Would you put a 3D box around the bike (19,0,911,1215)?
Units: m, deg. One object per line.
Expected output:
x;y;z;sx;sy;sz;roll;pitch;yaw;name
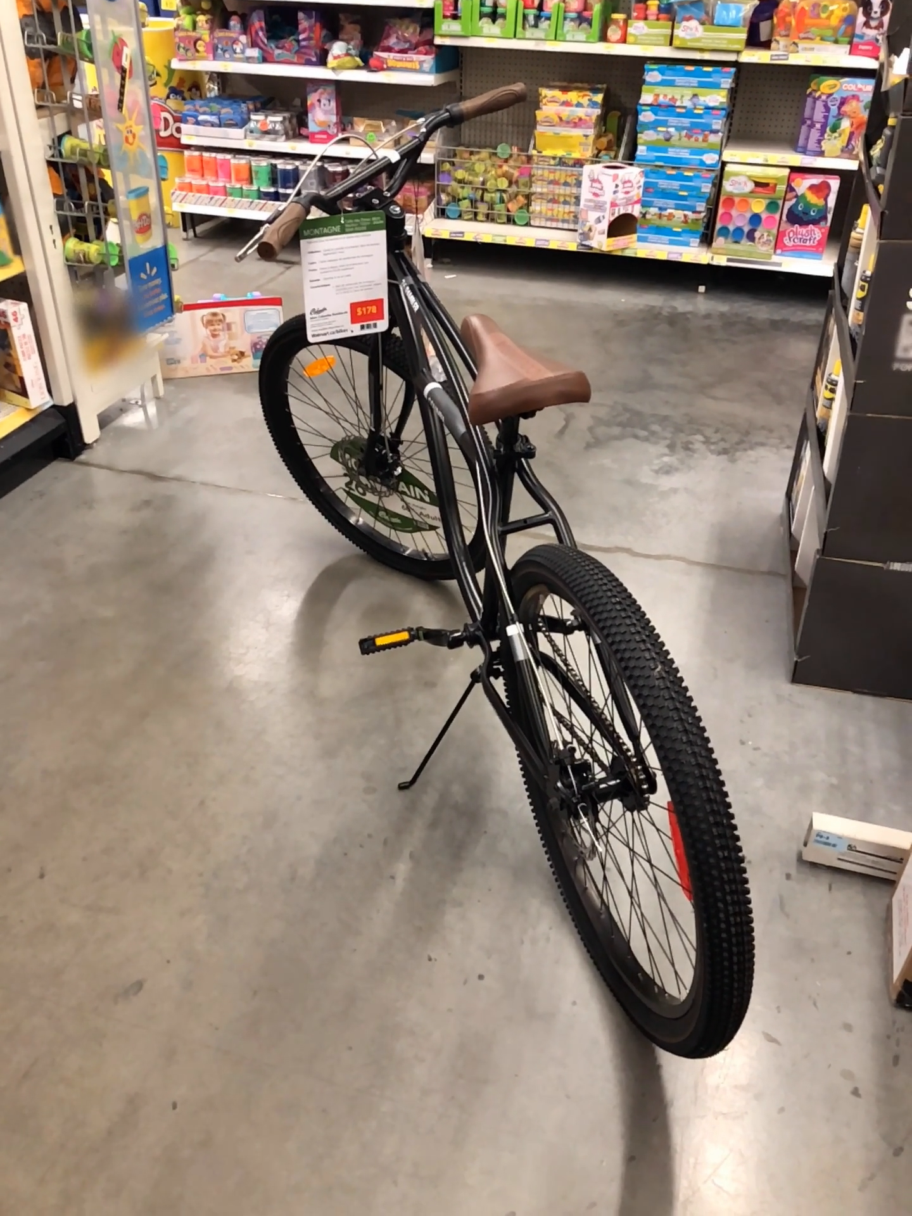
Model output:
-0.089;-0.239;1.456;0.652;0.975;1.592;-13;41;-20;bike
